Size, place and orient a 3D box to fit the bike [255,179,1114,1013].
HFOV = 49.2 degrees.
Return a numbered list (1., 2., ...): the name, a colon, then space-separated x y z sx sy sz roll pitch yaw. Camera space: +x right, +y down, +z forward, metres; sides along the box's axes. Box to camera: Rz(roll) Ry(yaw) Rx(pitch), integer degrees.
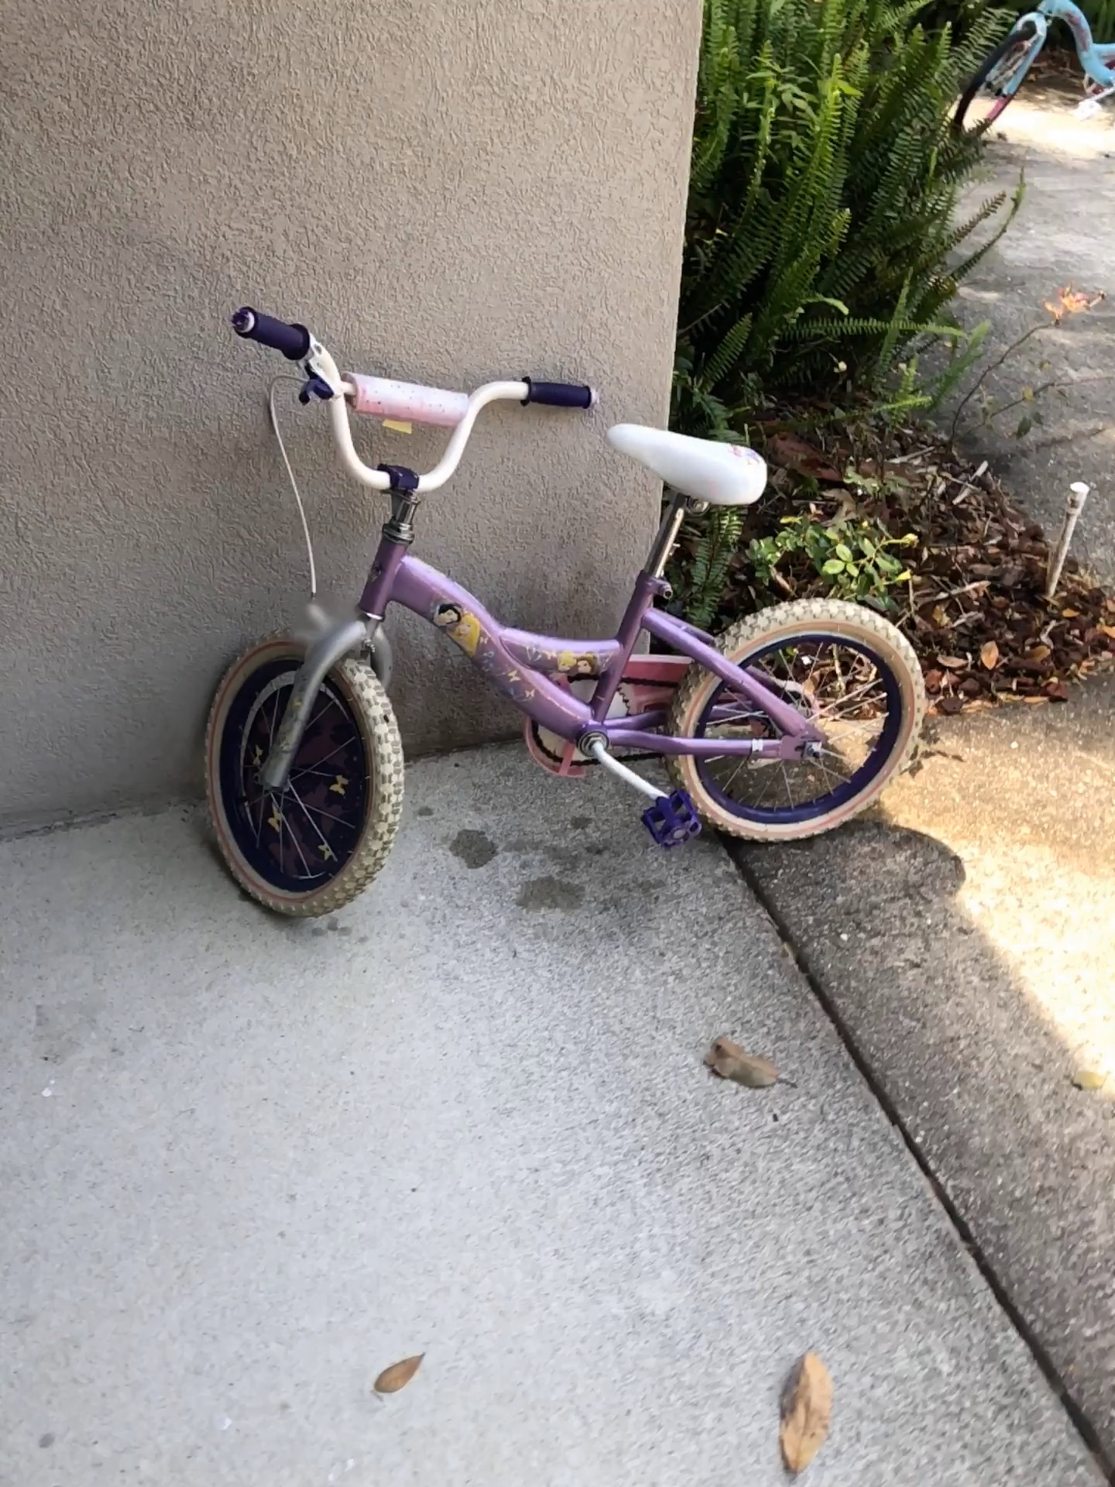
1. bike: 0.099 -0.209 1.612 0.845 0.816 0.619 -6 40 -8
